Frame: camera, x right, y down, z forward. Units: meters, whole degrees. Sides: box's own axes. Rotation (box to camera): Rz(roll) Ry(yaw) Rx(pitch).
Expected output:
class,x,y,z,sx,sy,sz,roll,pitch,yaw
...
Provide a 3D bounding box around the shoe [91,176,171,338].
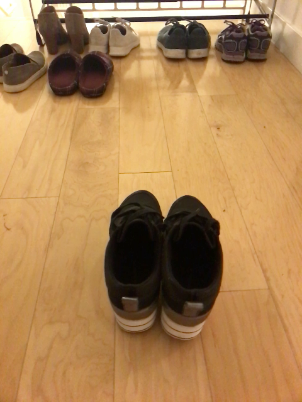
class,x,y,z,sx,sy,sz,roll,pitch,yaw
shoe,-0.025,0.077,0.535,0.100,0.099,0.252,0,43,0

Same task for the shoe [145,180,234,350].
class,x,y,z,sx,sy,sz,roll,pitch,yaw
shoe,0.058,0.088,0.529,0.110,0.099,0.252,4,43,3
